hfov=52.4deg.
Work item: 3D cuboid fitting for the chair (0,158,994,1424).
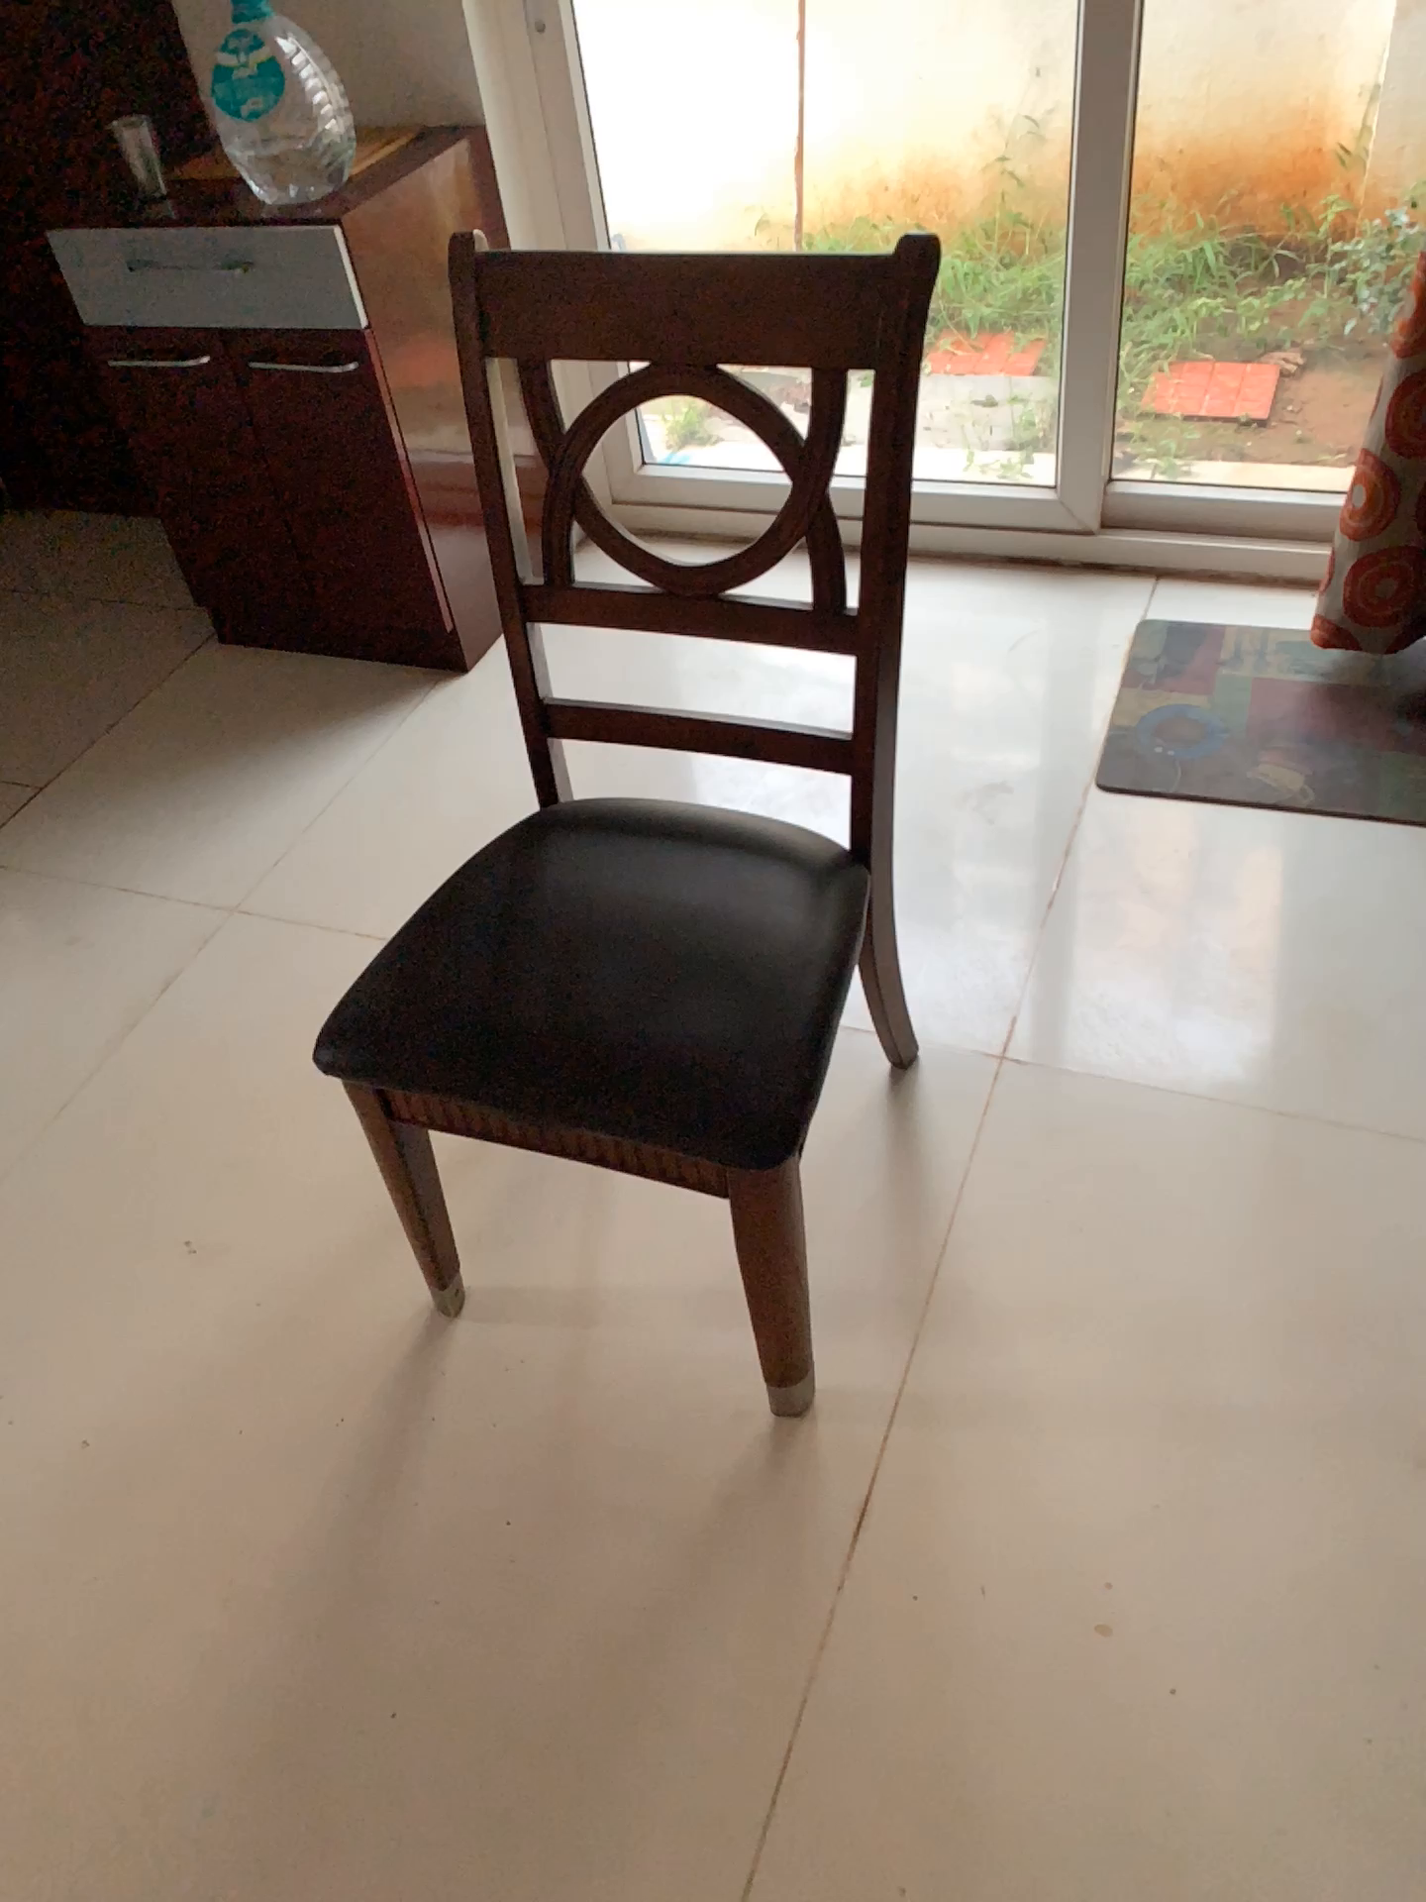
[{"bbox_3d":[-0.077,-0.123,1.460,0.571,1.026,0.642,10,50,19],"label":"chair"}]
